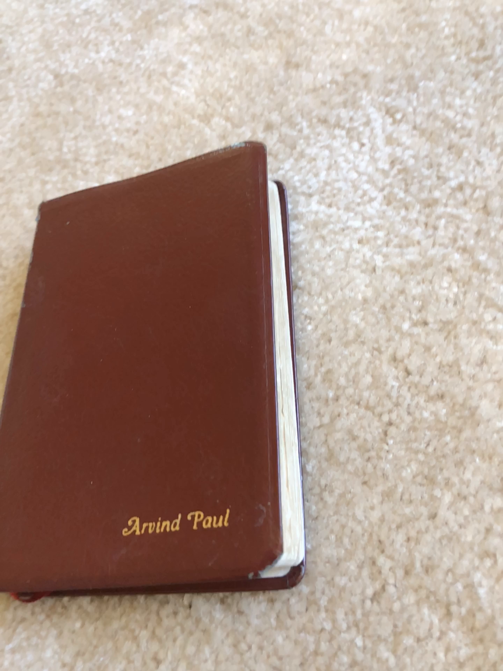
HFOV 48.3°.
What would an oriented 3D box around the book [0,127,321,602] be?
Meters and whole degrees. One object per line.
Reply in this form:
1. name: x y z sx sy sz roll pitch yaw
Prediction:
1. book: -0.039 0.010 0.208 0.110 0.040 0.157 -11 61 18
